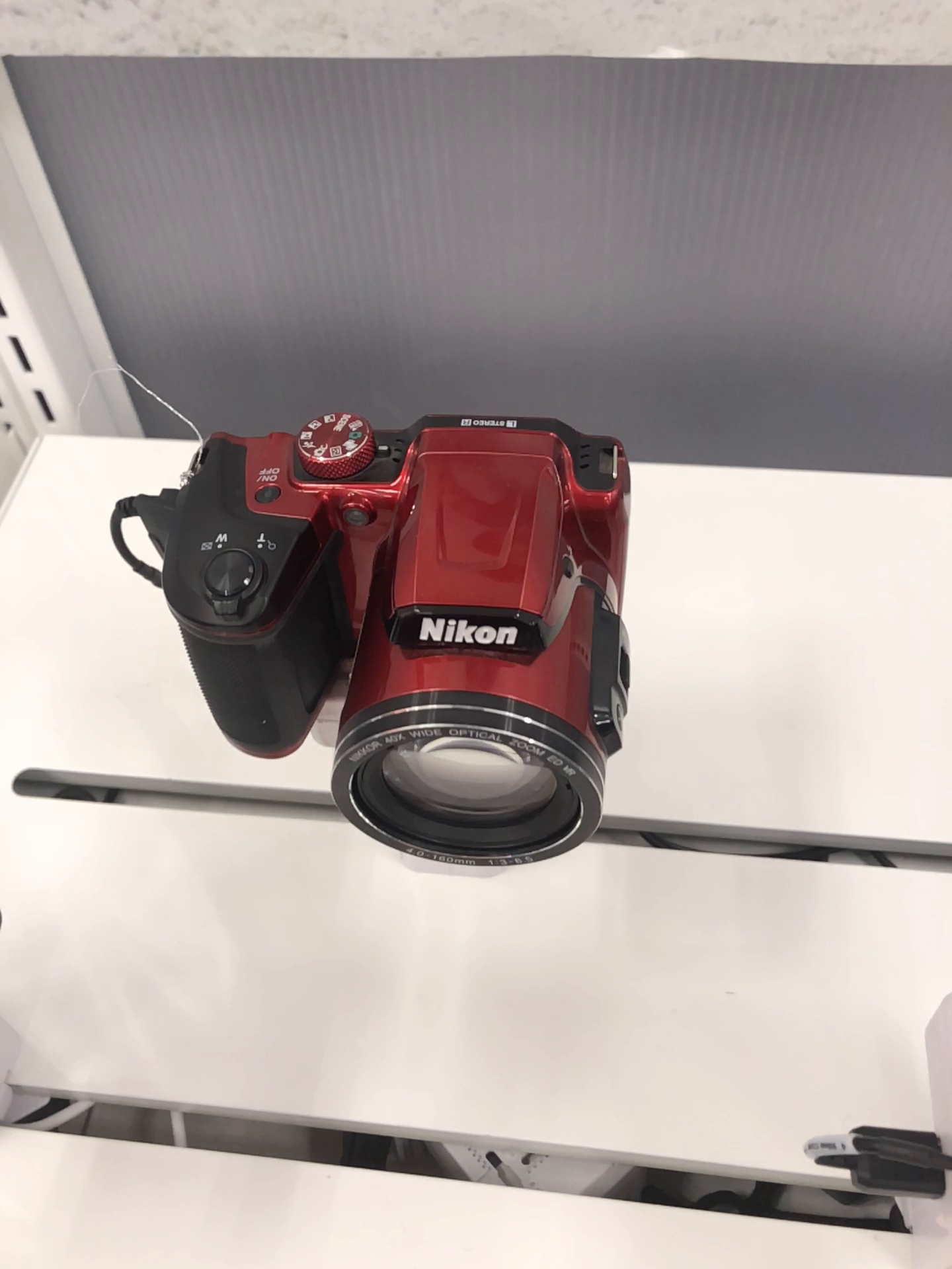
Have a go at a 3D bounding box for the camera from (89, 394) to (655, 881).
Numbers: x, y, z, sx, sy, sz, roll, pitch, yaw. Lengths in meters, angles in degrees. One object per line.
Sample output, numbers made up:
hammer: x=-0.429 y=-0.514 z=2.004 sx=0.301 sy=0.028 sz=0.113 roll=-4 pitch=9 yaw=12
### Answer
camera: x=-0.016 y=0.000 z=0.259 sx=0.110 sy=0.073 sz=0.084 roll=4 pitch=52 yaw=6
